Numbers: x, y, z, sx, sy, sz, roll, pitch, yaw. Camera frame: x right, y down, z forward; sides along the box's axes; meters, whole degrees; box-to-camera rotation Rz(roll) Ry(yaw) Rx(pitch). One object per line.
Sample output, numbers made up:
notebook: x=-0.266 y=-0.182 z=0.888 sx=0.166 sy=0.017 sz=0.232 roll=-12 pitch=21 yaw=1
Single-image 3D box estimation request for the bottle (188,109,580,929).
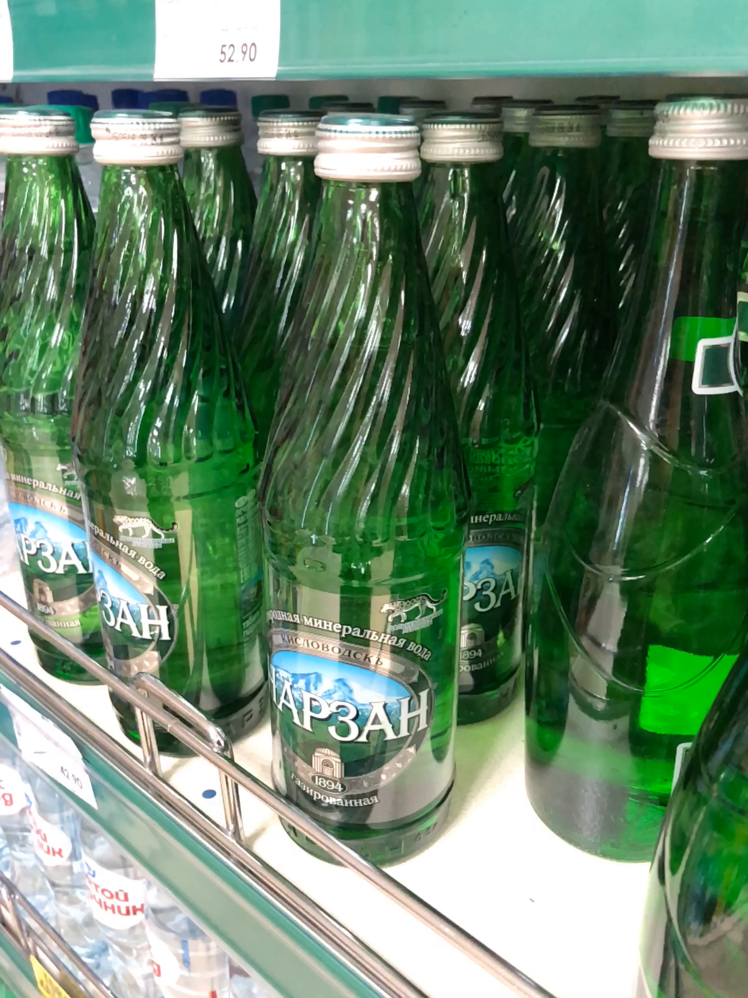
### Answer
bottle: x=0.002 y=0.010 z=0.263 sx=0.080 sy=0.240 sz=0.060 roll=18 pitch=31 yaw=34
